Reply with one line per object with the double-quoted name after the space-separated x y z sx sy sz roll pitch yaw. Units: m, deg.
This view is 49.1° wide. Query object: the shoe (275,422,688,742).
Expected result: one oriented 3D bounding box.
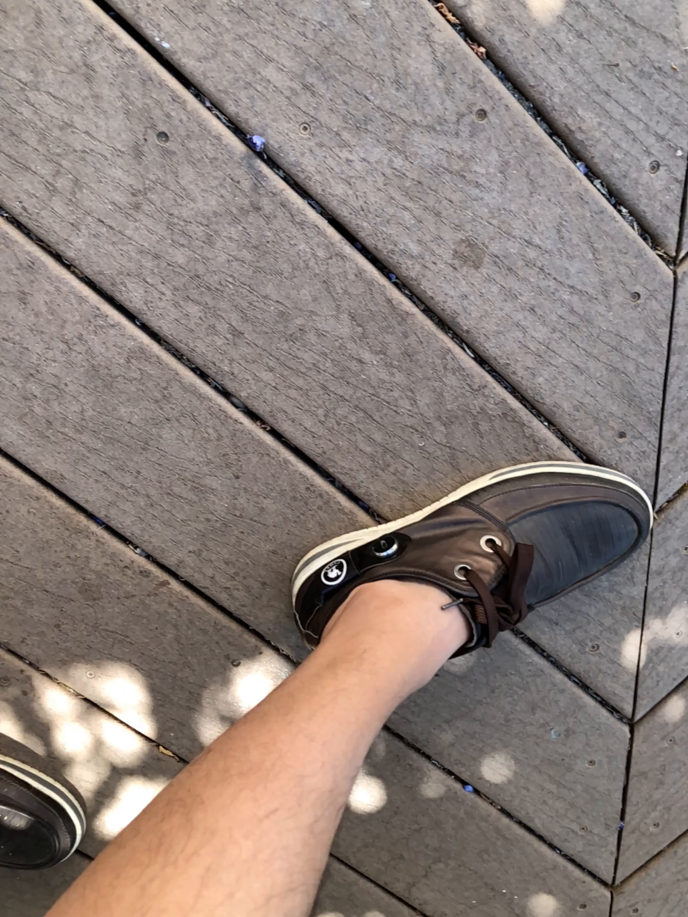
0.108 0.089 0.570 0.295 0.110 0.110 -19 115 2 "shoe"
